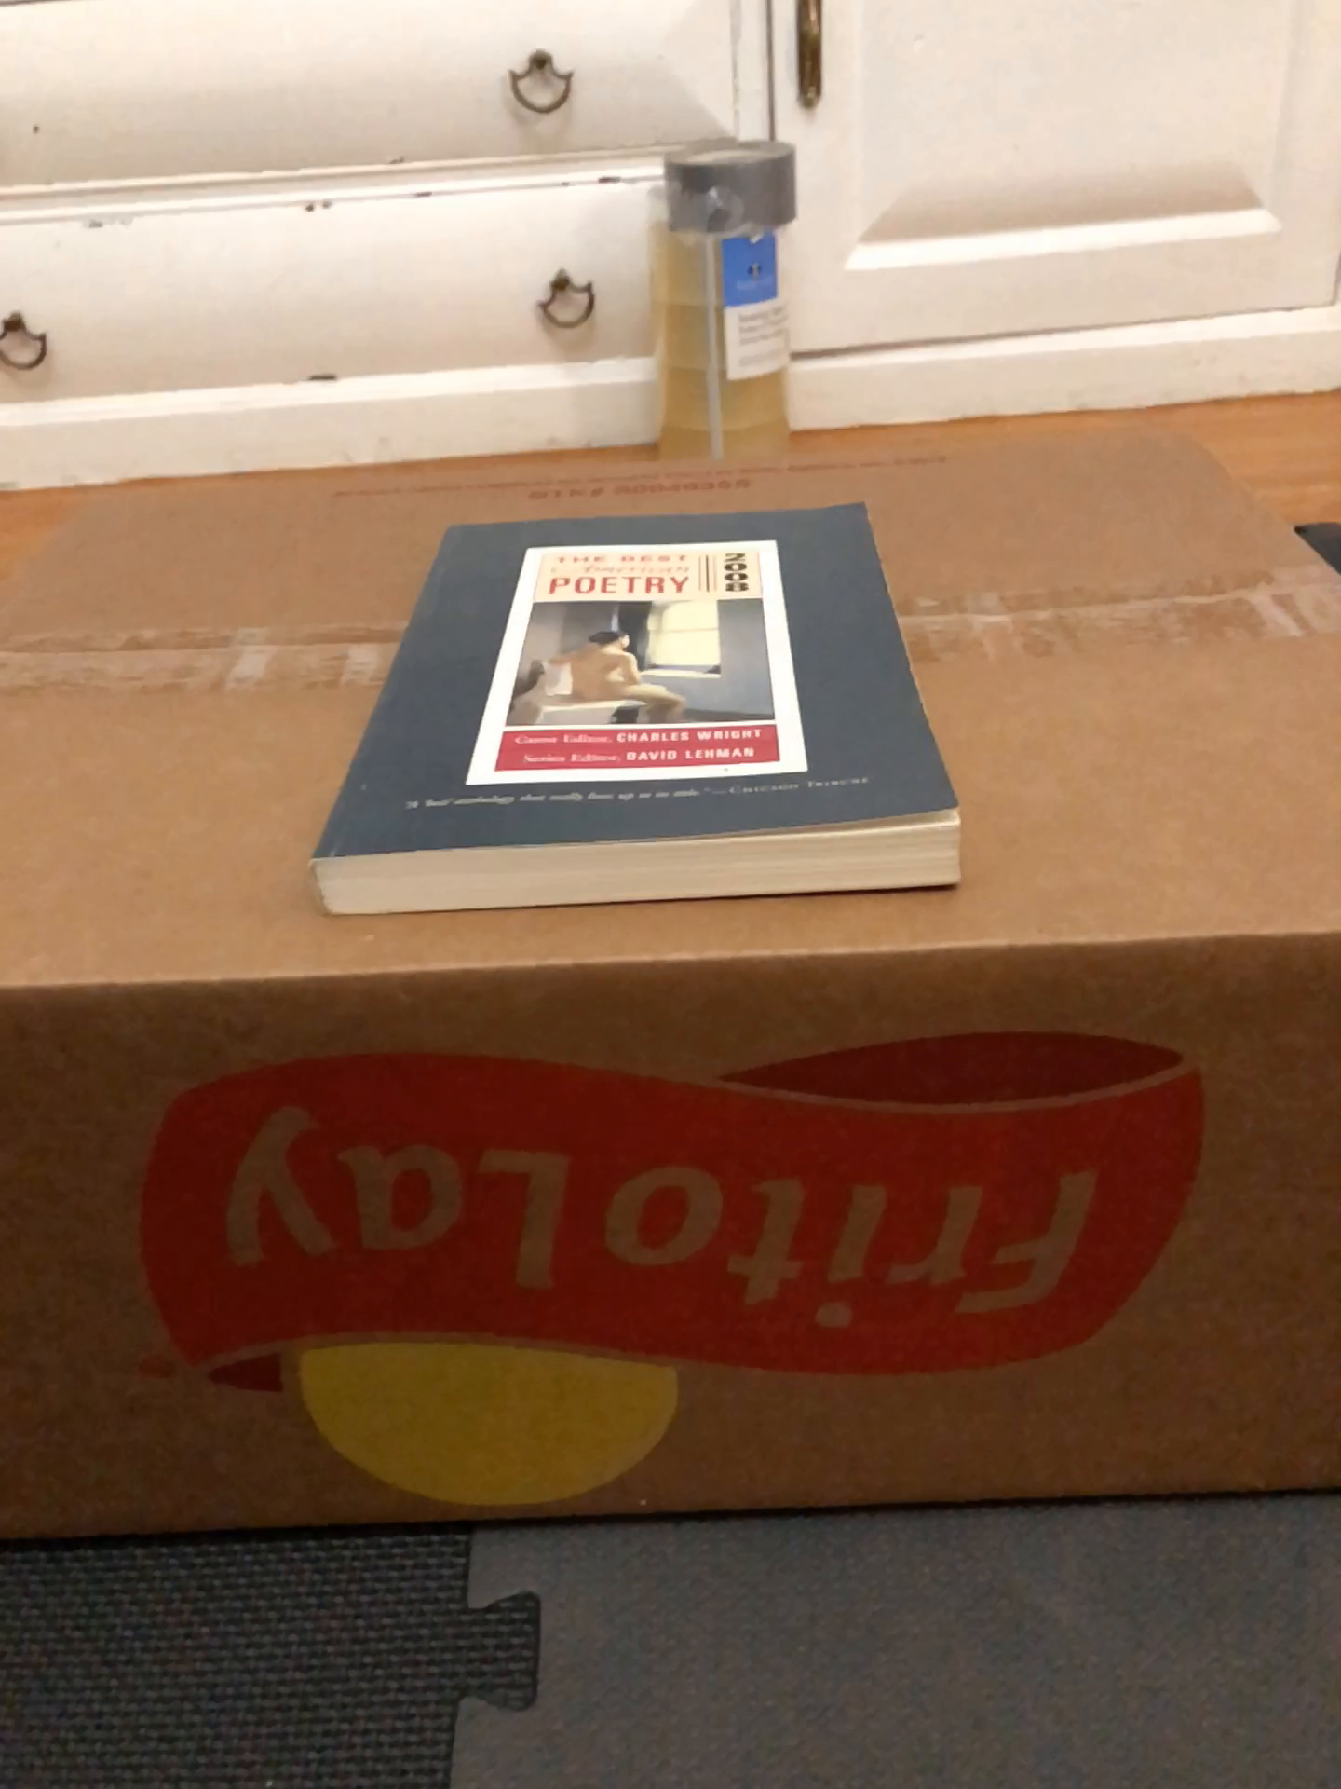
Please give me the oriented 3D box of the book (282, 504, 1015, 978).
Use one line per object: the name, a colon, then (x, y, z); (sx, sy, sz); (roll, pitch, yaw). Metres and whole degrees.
book: (-0.005, -0.057, 0.405); (0.150, 0.020, 0.231); (-3, 32, 2)
